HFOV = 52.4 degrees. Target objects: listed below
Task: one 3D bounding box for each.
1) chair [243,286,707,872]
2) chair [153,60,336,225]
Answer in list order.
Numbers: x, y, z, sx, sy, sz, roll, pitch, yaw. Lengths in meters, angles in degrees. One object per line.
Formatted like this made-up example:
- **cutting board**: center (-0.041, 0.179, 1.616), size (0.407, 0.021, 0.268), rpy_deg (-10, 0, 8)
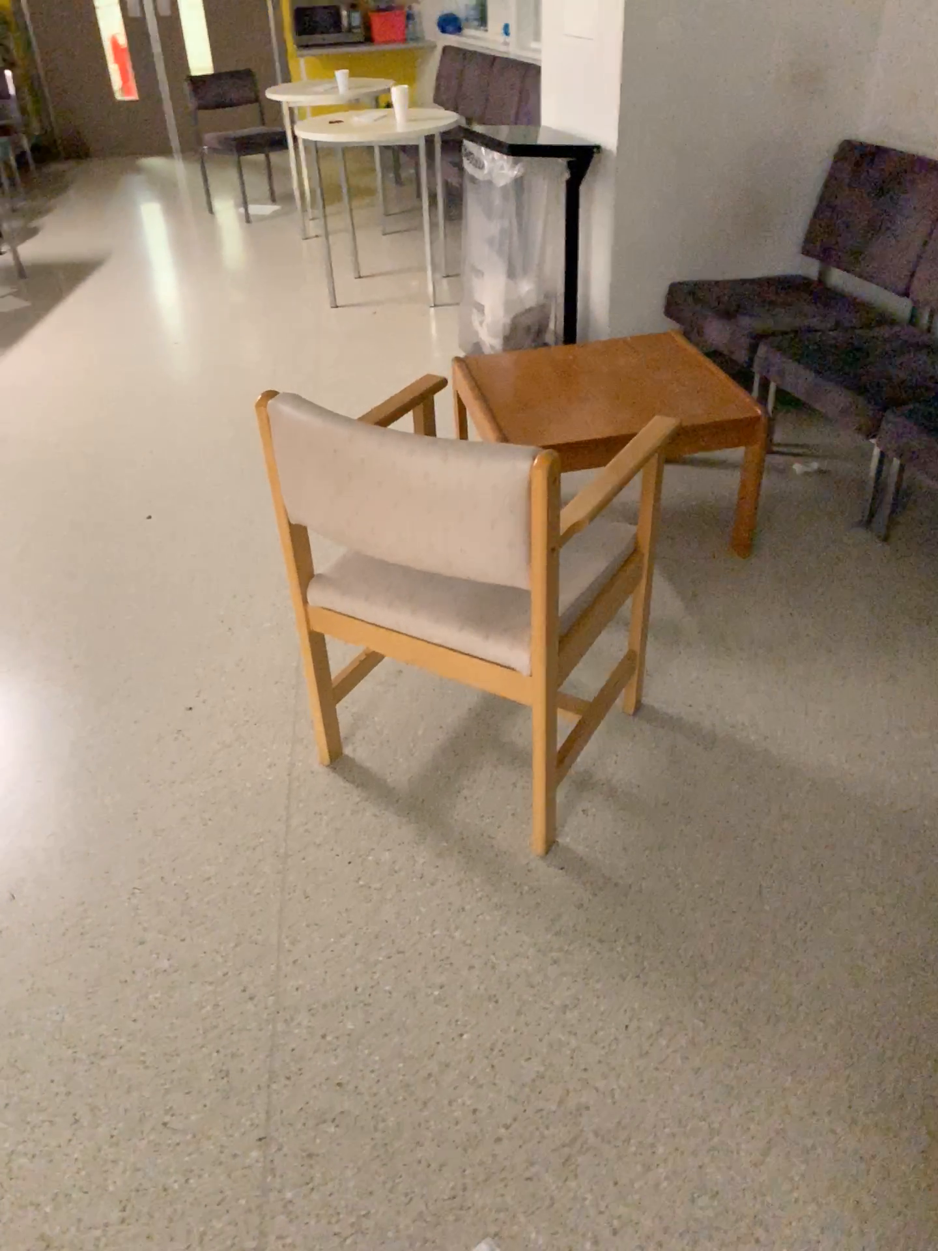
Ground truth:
- **chair**: center (0.039, -0.103, 1.645), size (0.511, 0.753, 0.514), rpy_deg (17, 39, 26)
- **chair**: center (-1.251, -2.715, 5.315), size (0.611, 0.663, 0.947), rpy_deg (-20, 39, -24)
